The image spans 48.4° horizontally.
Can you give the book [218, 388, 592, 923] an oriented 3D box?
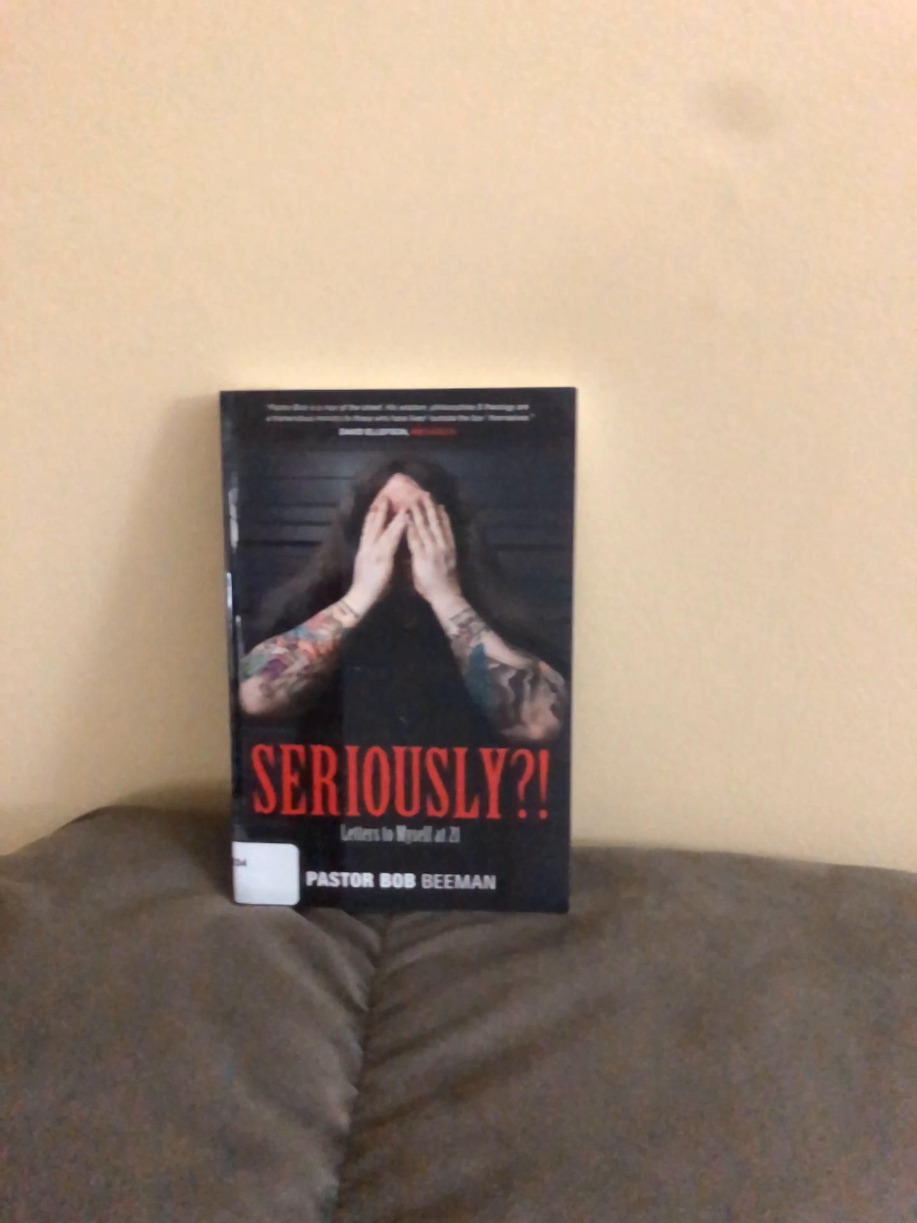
[{"bbox_3d":[-0.019,0.019,0.398,0.136,0.205,0.023,0,9,3],"label":"book"}]
